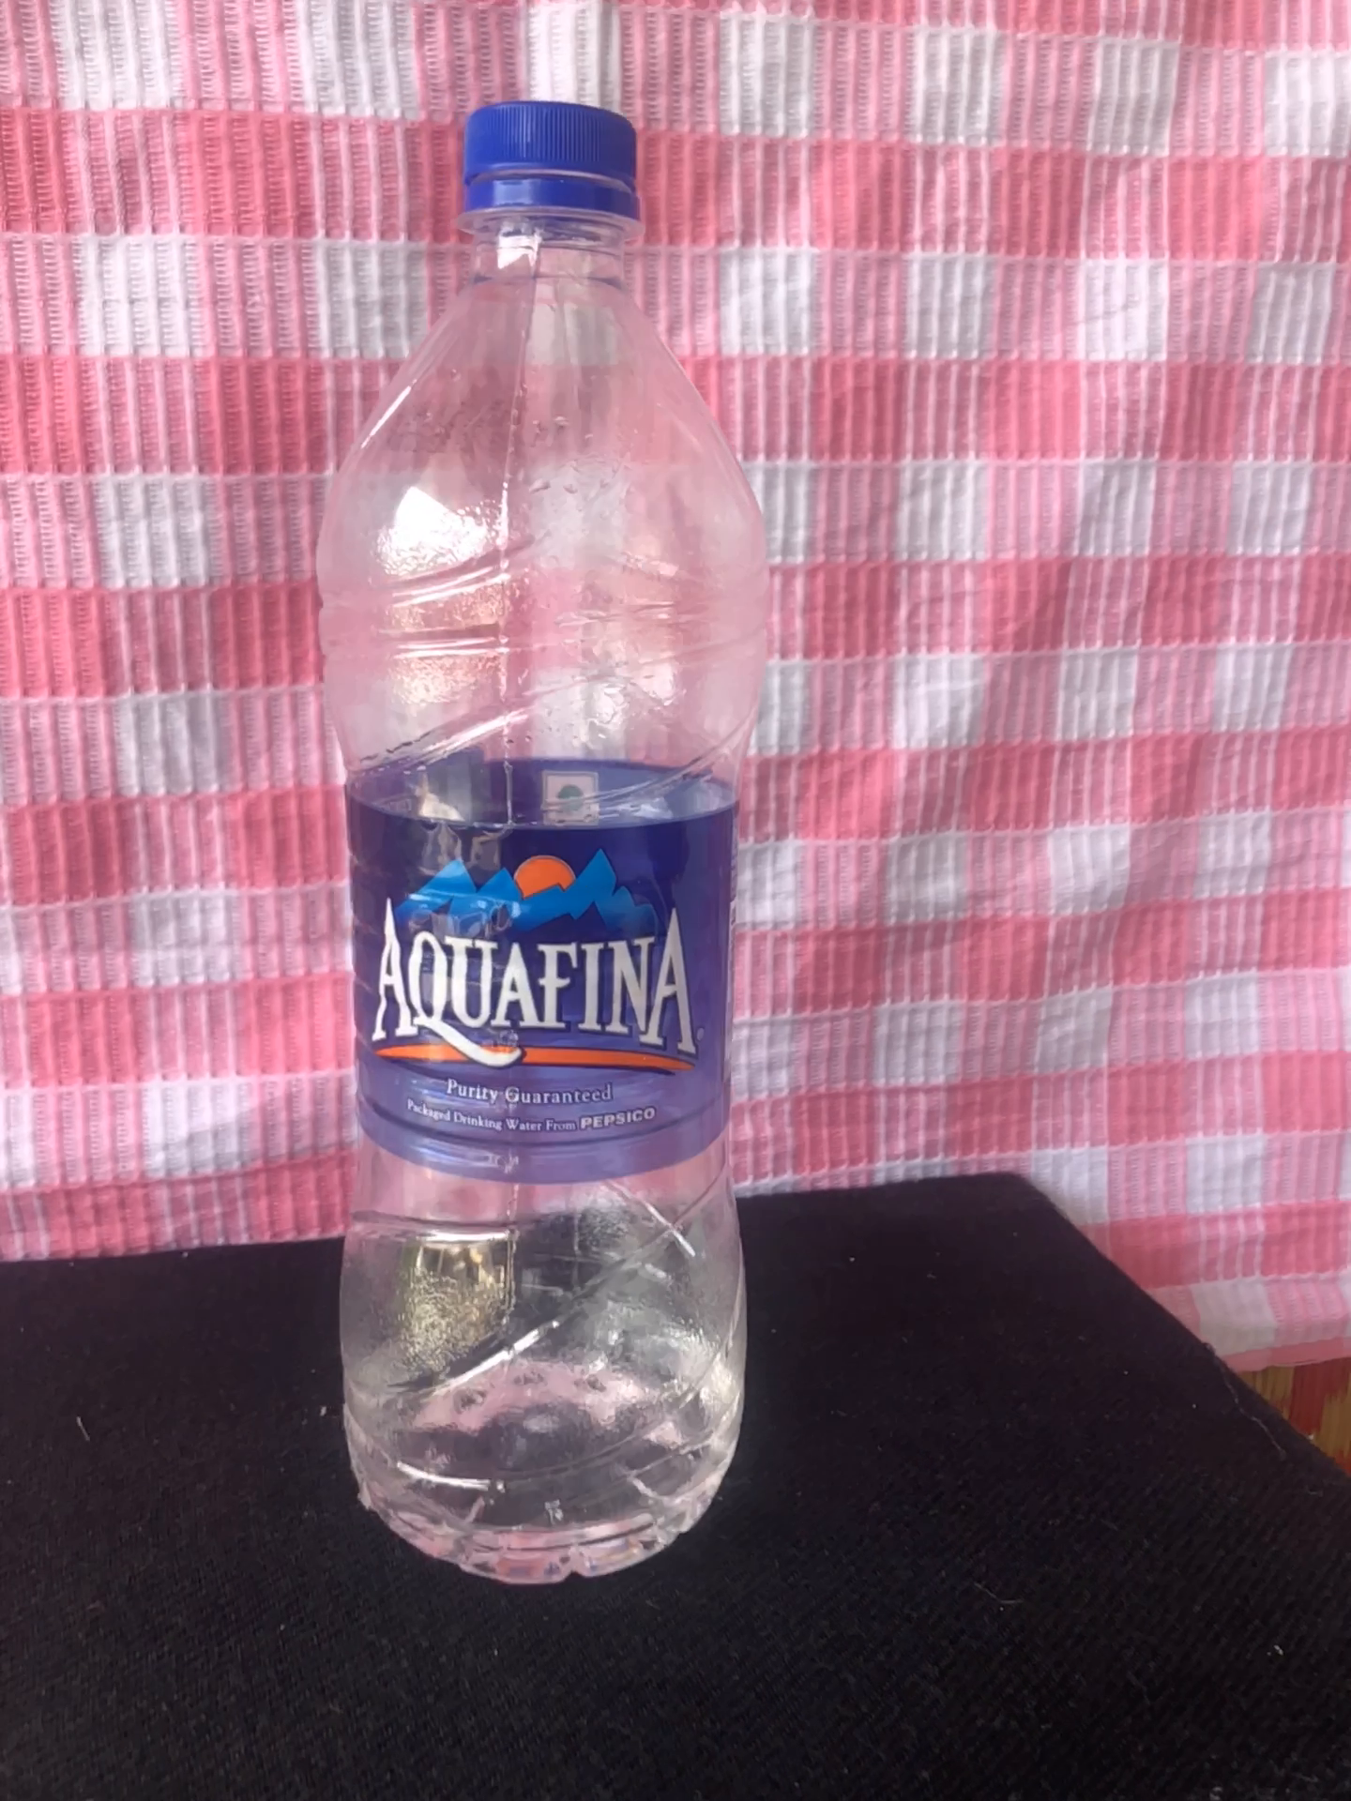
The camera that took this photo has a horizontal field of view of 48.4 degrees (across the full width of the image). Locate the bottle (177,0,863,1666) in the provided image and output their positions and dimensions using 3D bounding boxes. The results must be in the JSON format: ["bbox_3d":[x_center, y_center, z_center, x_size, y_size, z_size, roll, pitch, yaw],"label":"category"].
[{"bbox_3d":[-0.024,-0.004,0.266,0.090,0.259,0.070,5,16,7],"label":"bottle"}]
